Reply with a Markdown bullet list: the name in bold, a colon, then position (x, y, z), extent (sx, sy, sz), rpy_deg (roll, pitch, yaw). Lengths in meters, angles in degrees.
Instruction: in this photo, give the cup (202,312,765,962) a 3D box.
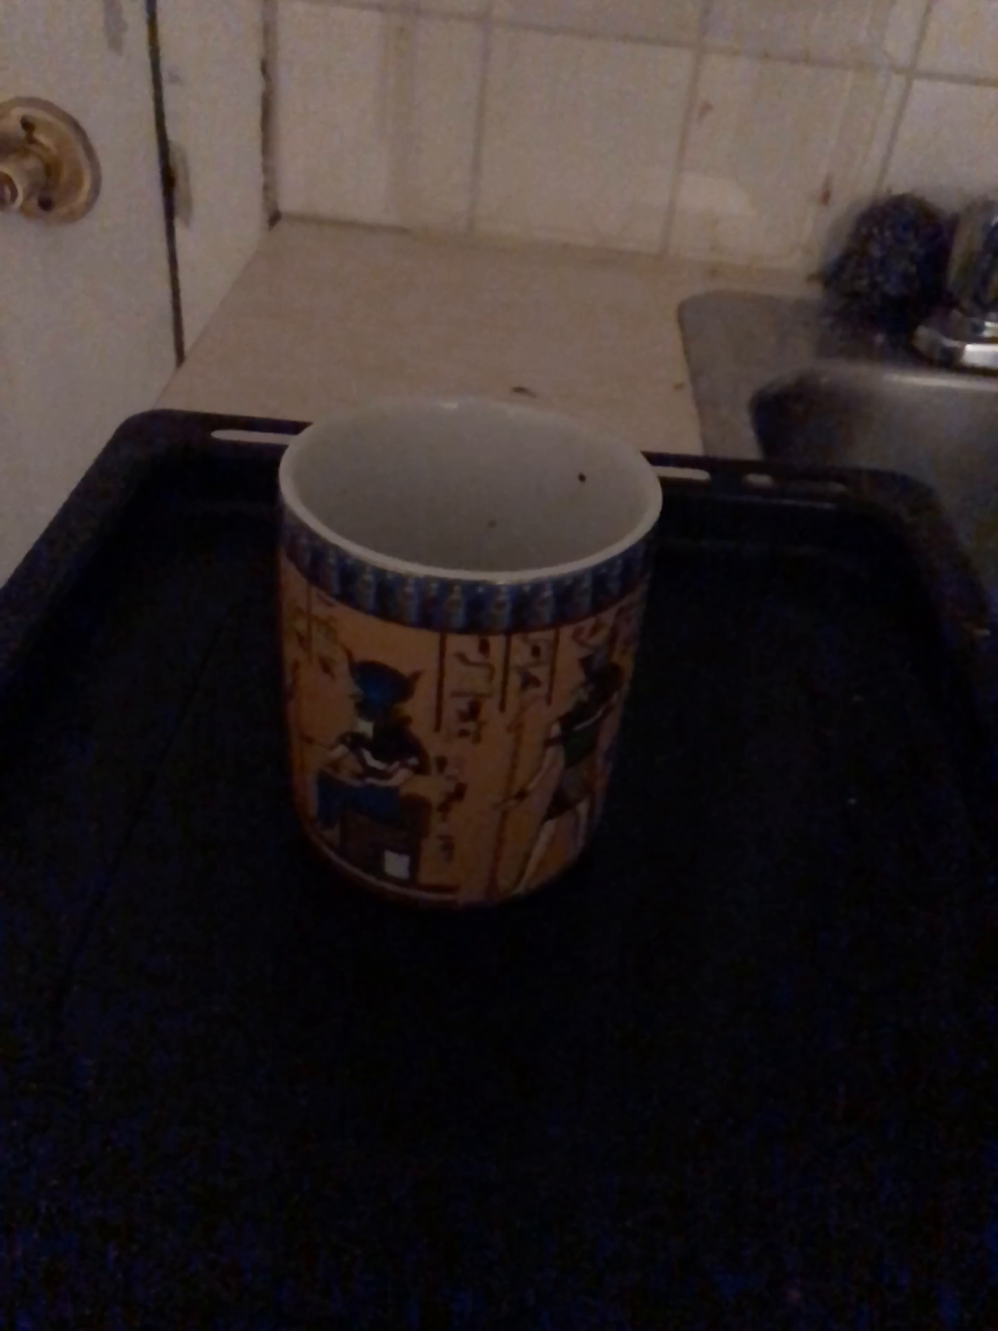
- **cup**: position (0.001, -0.015, 0.271), extent (0.080, 0.089, 0.121), rpy_deg (20, 39, 16)
